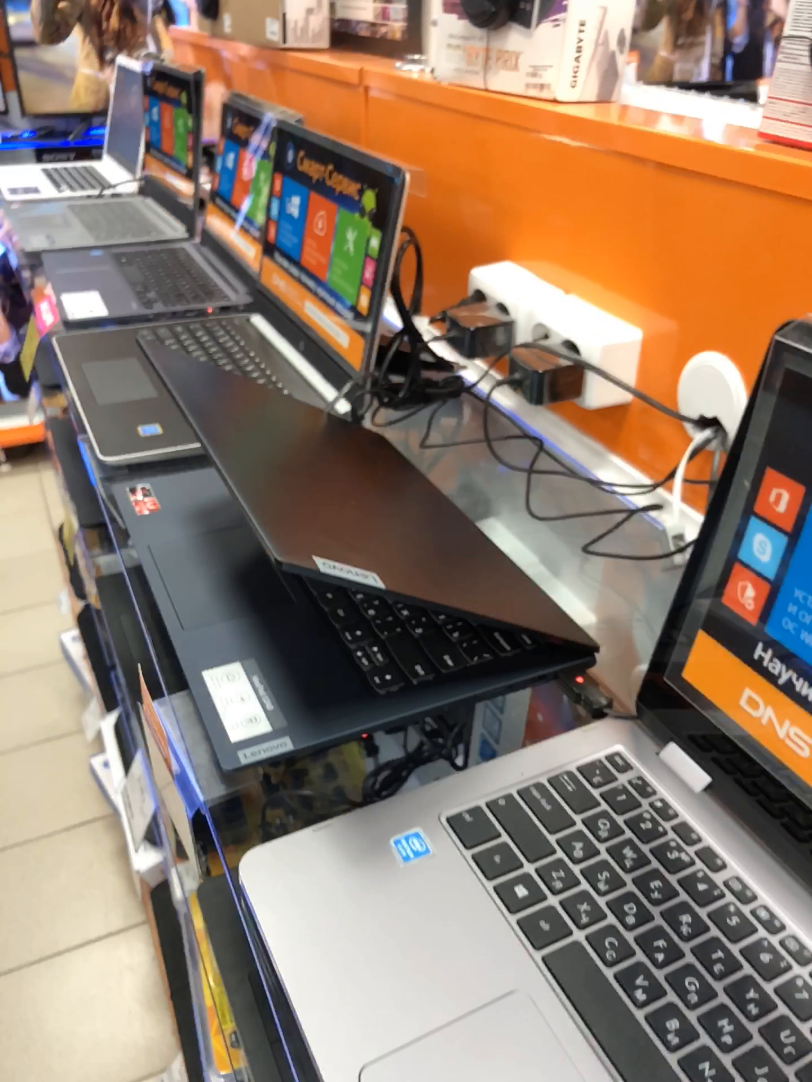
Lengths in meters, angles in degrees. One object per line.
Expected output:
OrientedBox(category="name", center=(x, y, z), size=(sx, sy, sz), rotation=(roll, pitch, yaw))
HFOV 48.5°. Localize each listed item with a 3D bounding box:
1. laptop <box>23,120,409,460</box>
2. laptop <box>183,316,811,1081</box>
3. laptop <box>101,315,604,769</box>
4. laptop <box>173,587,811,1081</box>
OrientedBox(category="laptop", center=(-0.178, -0.248, 0.820), size=(0.250, 0.200, 0.303), rotation=(-13, 34, -21))
OrientedBox(category="laptop", center=(0.121, 0.102, 0.258), size=(0.257, 0.202, 0.332), rotation=(-15, 35, -25))
OrientedBox(category="laptop", center=(-0.055, -0.032, 0.549), size=(0.203, 0.108, 0.303), rotation=(-12, 33, -20))
OrientedBox(category="laptop", center=(0.037, 0.244, 0.558), size=(0.258, 0.226, 0.356), rotation=(-14, 33, -20))
